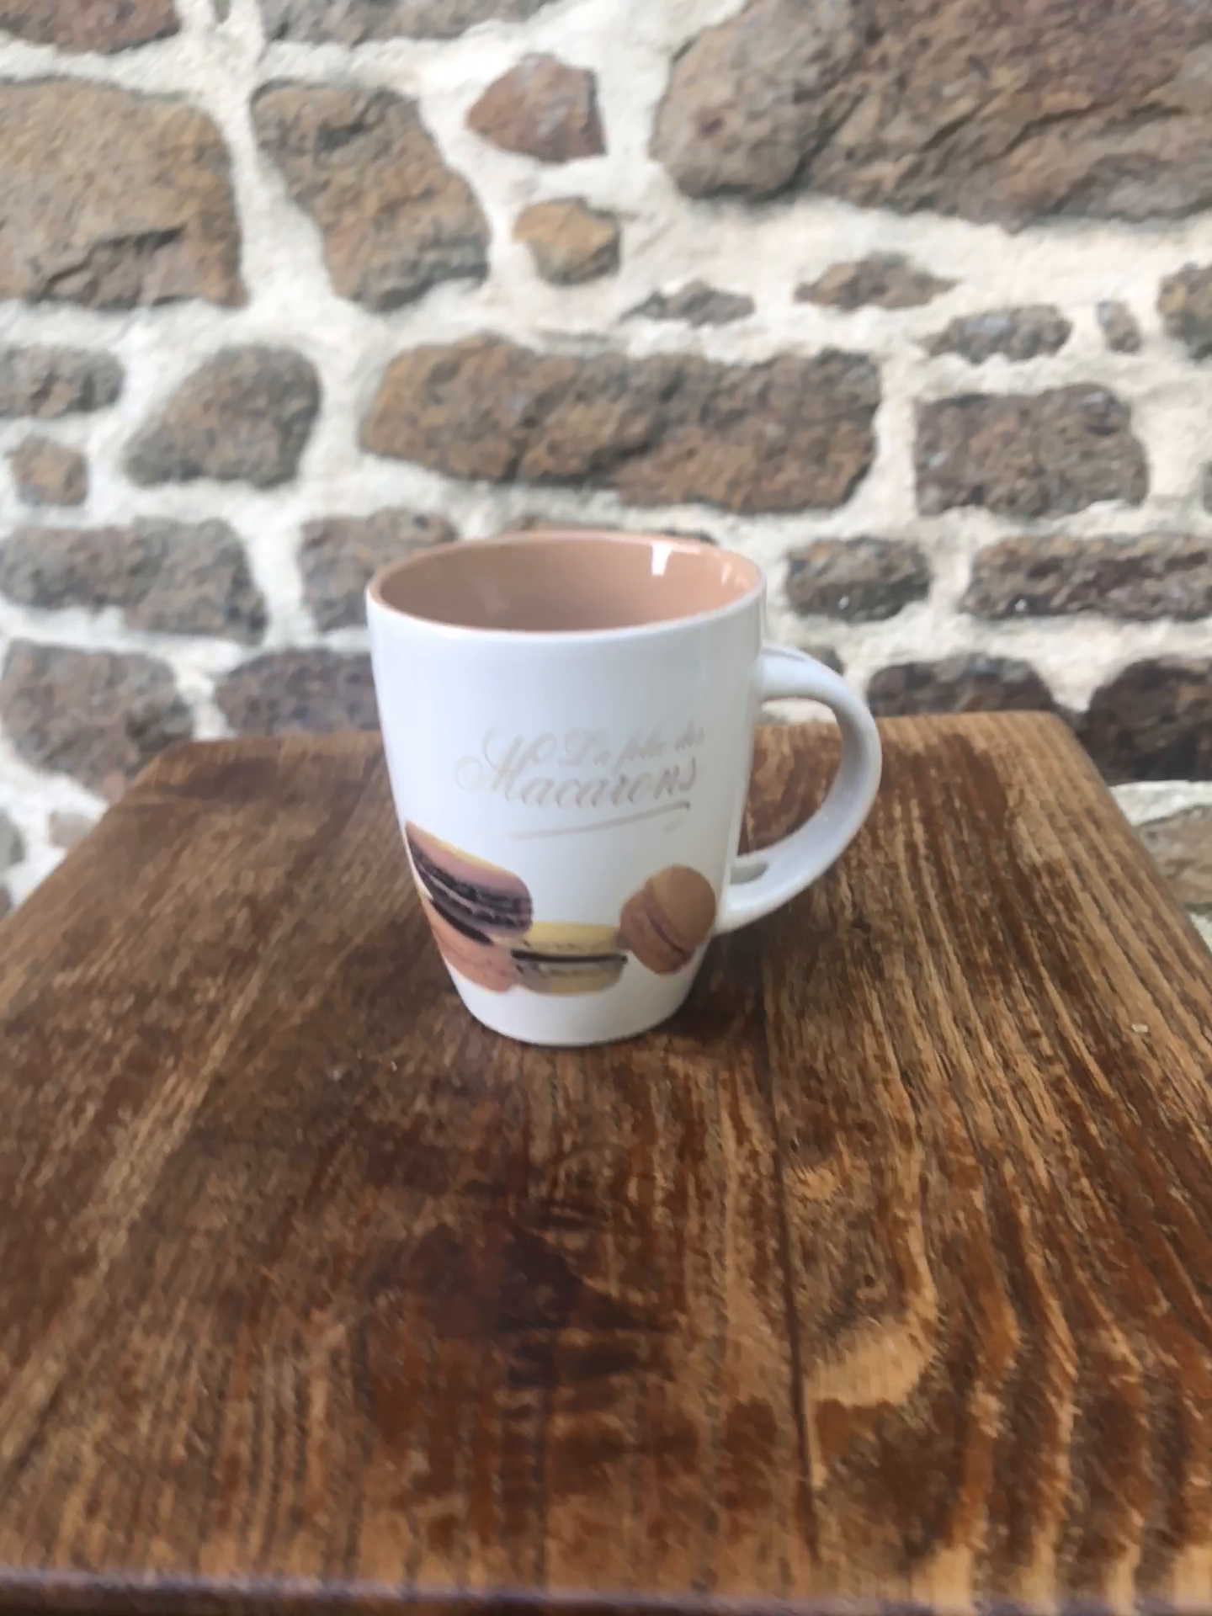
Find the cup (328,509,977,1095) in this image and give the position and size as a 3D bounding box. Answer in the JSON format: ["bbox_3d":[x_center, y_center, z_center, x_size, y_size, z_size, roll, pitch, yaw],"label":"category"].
[{"bbox_3d":[0.005,-0.009,0.312,0.123,0.090,0.094,-8,25,-9],"label":"cup"}]
